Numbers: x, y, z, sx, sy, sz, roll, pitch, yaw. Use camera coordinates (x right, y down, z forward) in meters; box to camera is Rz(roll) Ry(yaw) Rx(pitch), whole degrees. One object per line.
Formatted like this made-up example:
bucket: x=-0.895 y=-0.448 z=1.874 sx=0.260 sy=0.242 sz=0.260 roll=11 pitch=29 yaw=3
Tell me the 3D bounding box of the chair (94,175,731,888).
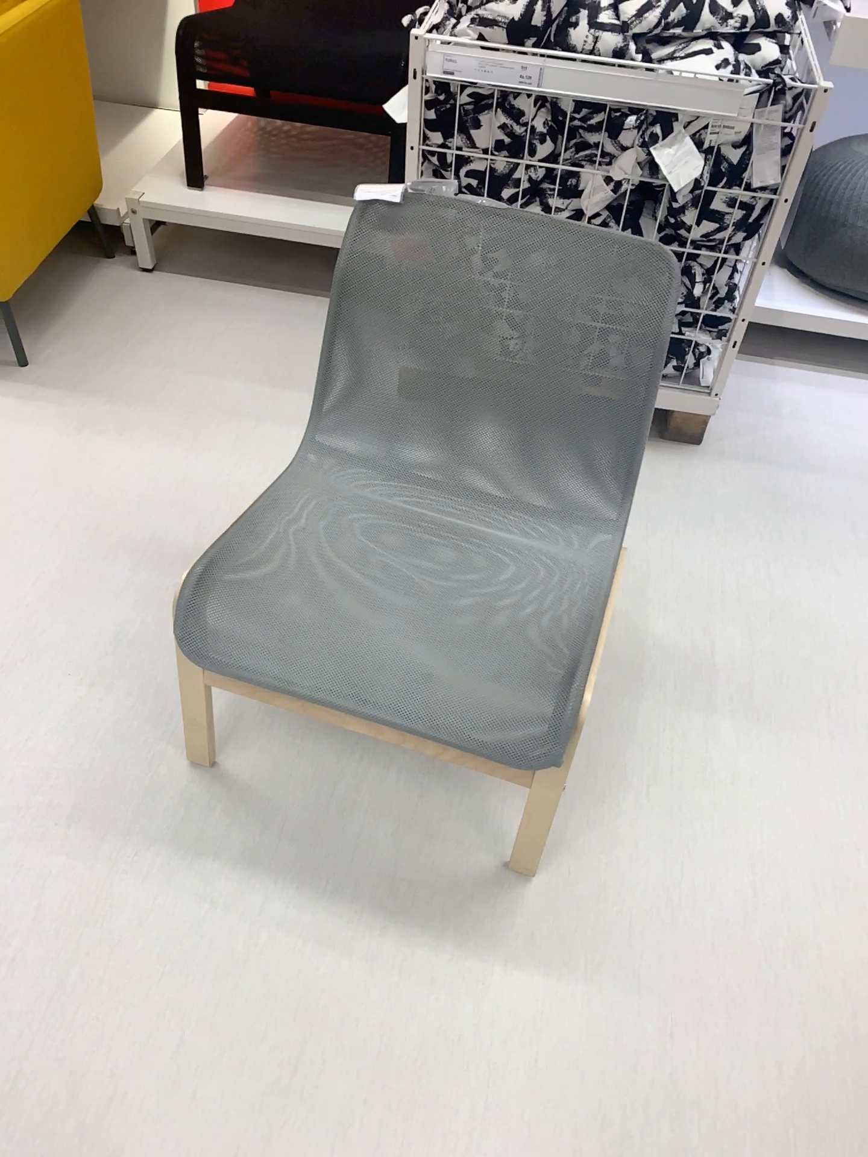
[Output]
chair: x=0.020 y=-0.094 z=1.427 sx=0.630 sy=0.698 sz=0.752 roll=16 pitch=48 yaw=10
